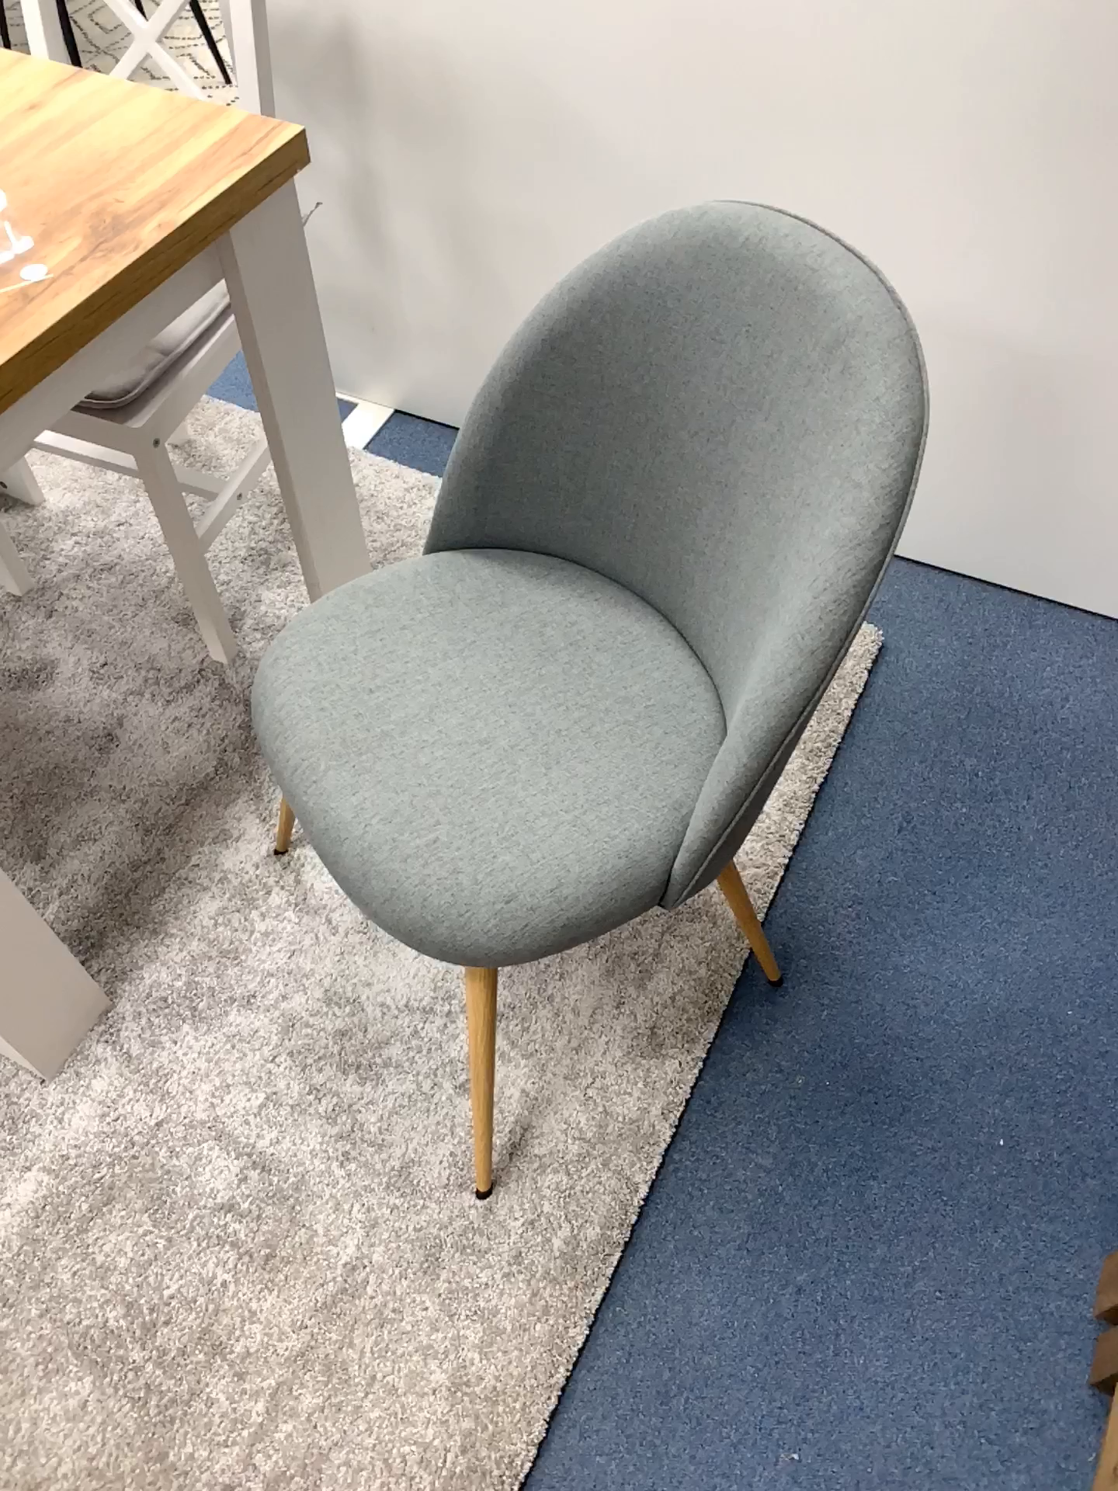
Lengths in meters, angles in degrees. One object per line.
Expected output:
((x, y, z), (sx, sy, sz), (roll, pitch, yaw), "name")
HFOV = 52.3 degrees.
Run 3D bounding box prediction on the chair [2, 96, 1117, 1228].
((-0.009, -0.045, 1.069), (0.570, 0.738, 0.531), (-29, 58, -20), "chair")
